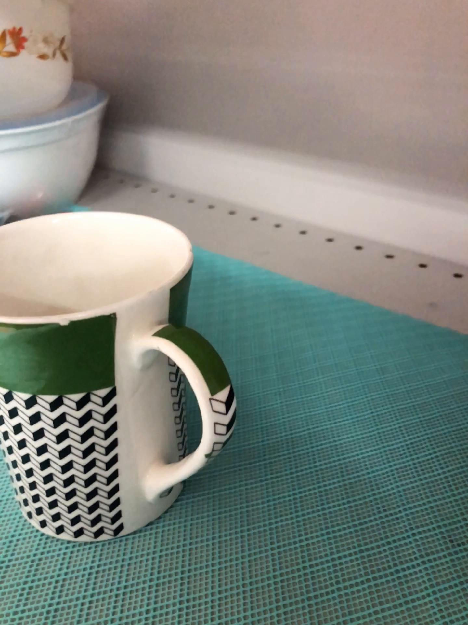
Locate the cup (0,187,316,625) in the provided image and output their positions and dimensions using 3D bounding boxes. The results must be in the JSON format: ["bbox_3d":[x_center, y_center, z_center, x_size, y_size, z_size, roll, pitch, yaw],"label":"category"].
[{"bbox_3d":[-0.044,0.027,0.174,0.110,0.099,0.080,19,36,28],"label":"cup"}]
